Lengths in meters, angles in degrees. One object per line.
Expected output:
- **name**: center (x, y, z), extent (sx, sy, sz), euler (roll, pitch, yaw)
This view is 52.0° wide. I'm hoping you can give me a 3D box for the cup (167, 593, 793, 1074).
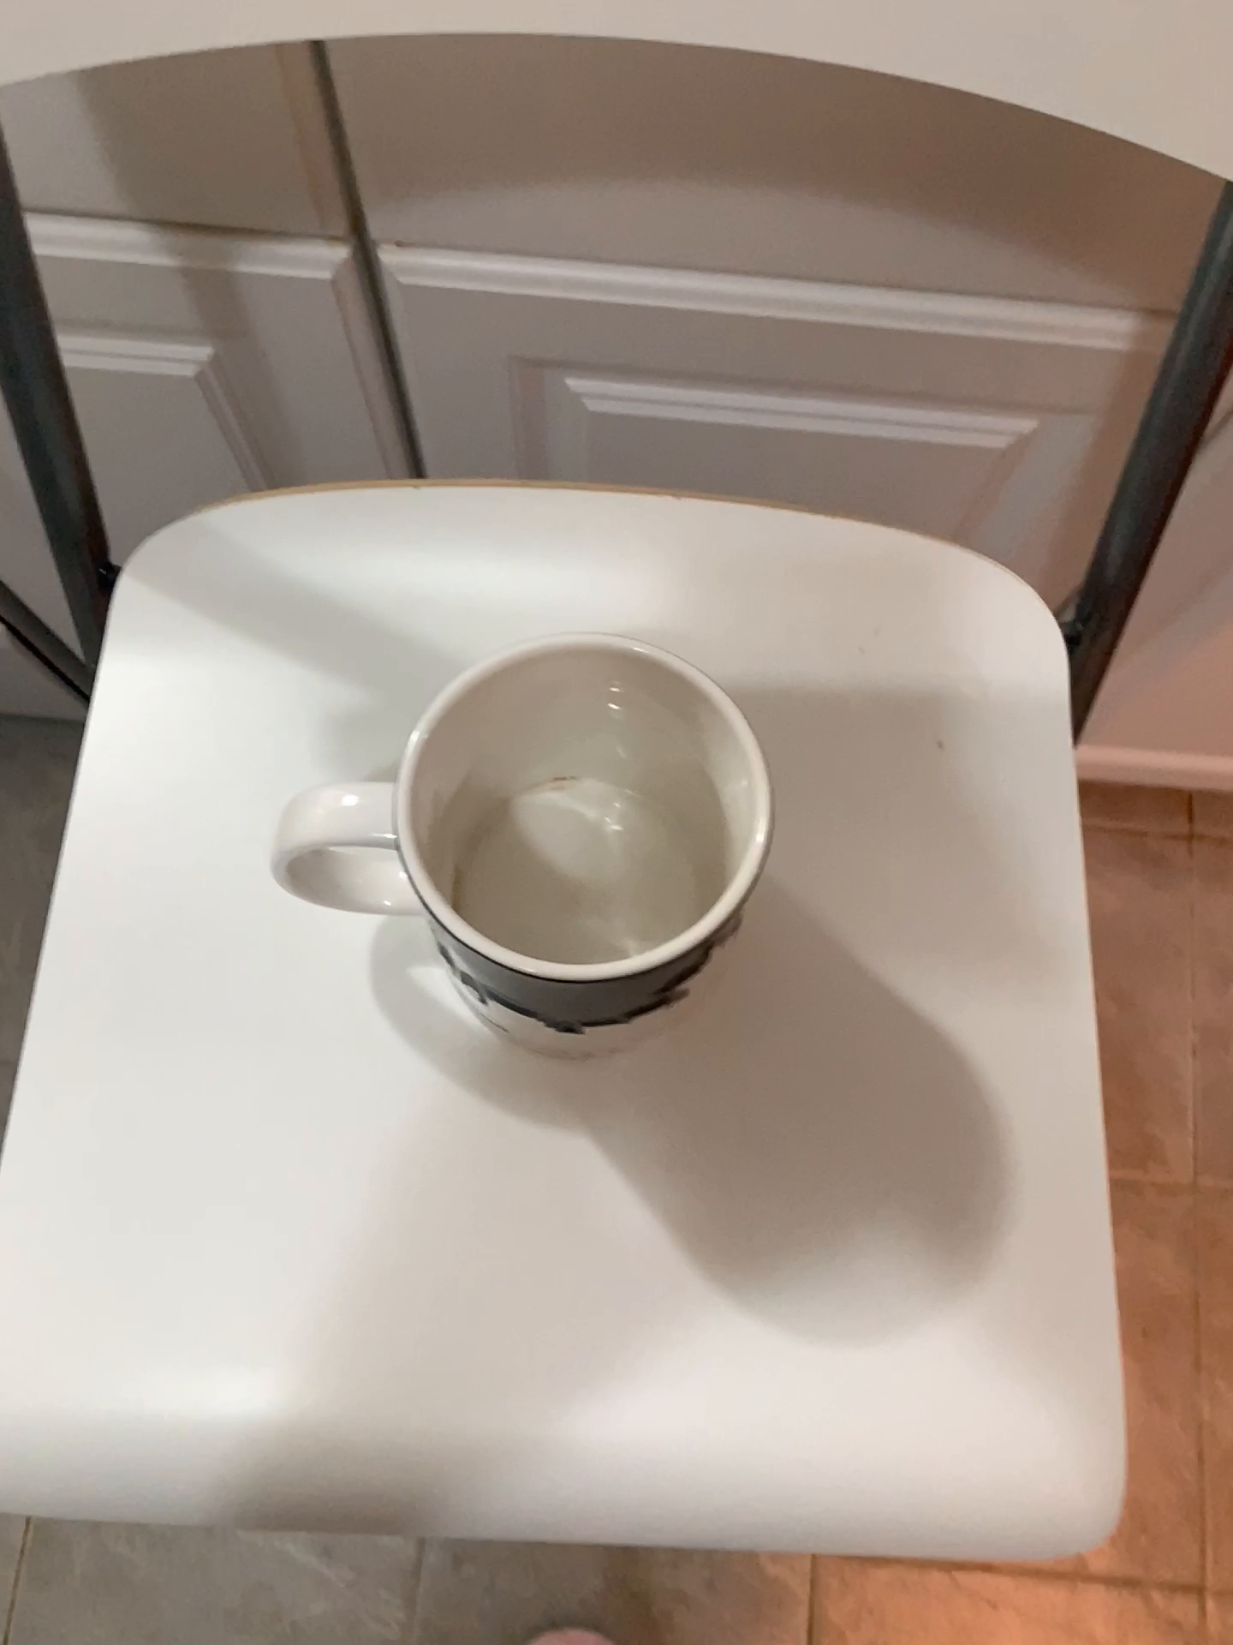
- **cup**: center (-0.032, 0.010, 0.361), extent (0.143, 0.100, 0.104), euler (5, 76, 0)
